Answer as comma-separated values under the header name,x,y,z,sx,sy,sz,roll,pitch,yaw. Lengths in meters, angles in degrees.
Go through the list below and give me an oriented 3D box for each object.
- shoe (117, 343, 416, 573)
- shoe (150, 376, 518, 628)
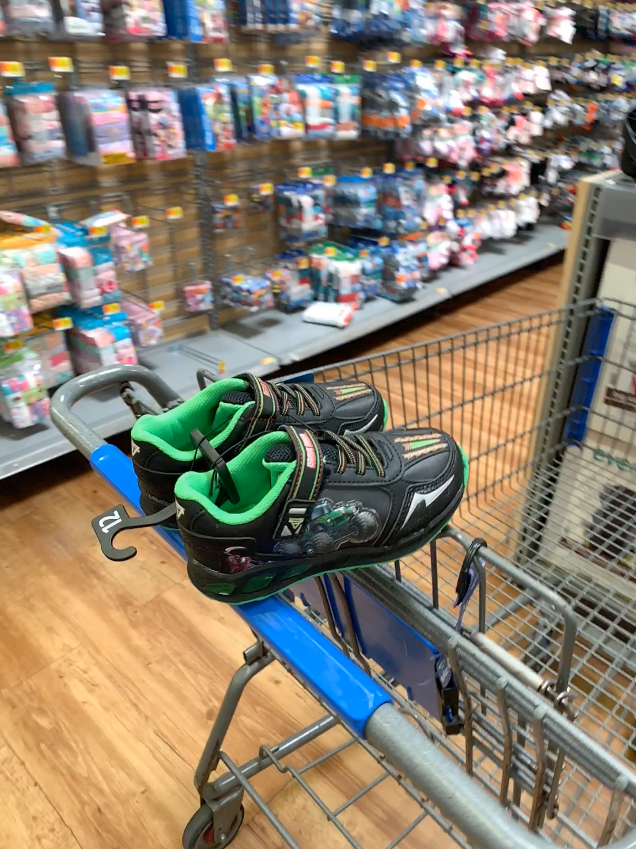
name,x,y,z,sx,sy,sz,roll,pitch,yaw
shoe,-0.037,0.016,0.498,0.194,0.093,0.095,-15,34,-24
shoe,0.009,0.042,0.432,0.213,0.086,0.090,-11,32,-18
